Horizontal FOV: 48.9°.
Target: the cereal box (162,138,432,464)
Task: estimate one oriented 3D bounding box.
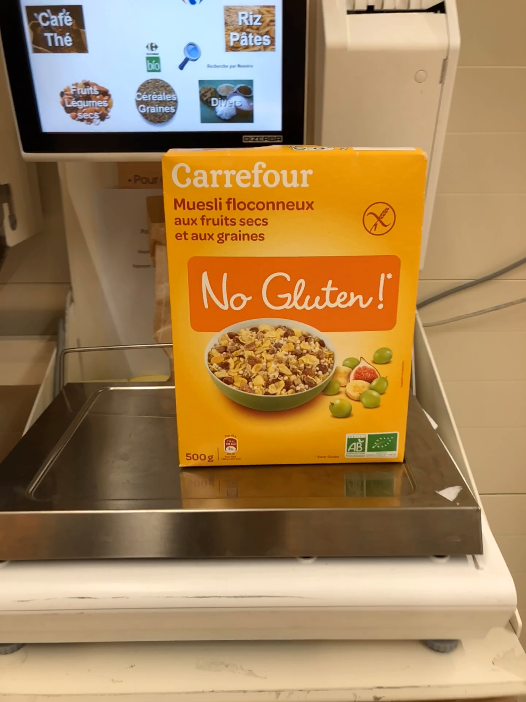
[{"bbox_3d":[0.024,-0.036,0.473,0.190,0.259,0.050,0,19,-1],"label":"cereal box"}]
